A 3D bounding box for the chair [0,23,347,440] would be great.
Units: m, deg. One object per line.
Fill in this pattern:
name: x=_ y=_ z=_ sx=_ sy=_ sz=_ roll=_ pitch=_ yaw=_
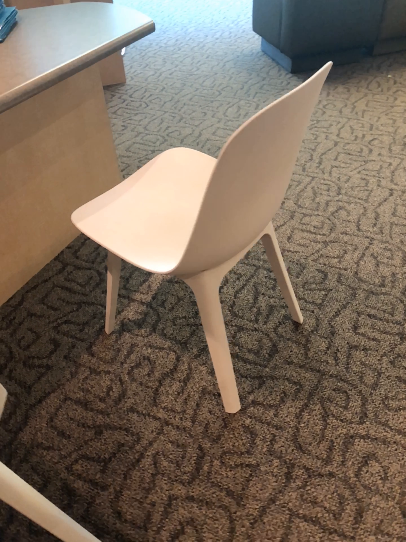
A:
chair: x=-0.059 y=-0.099 z=1.133 sx=0.551 sy=0.795 sz=0.482 roll=25 pitch=50 yaw=28
